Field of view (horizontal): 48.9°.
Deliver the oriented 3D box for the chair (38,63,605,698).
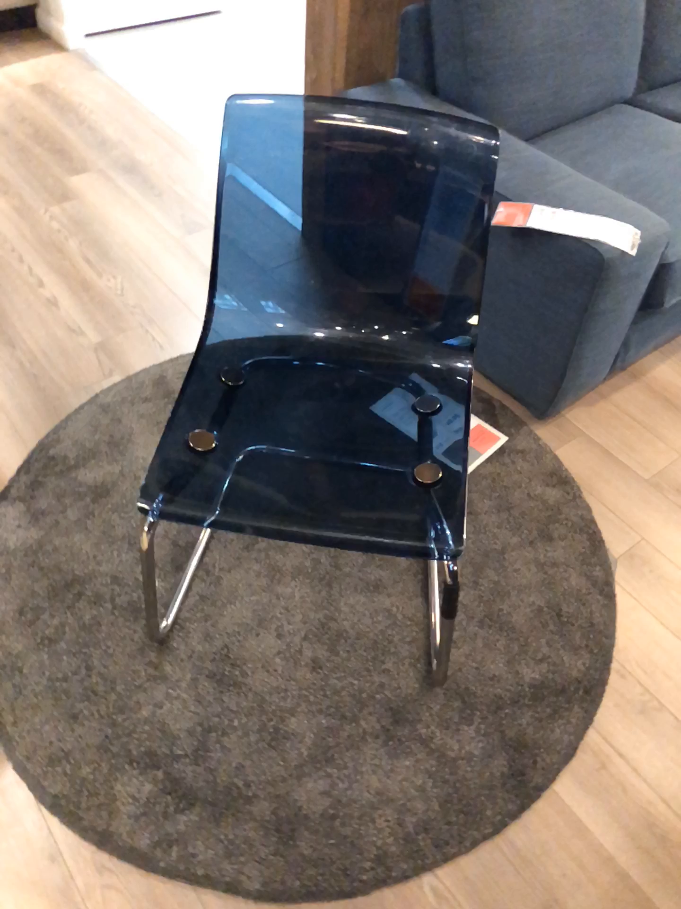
[{"bbox_3d":[-0.014,-0.065,1.245,0.580,0.867,0.502,8,48,3],"label":"chair"}]
